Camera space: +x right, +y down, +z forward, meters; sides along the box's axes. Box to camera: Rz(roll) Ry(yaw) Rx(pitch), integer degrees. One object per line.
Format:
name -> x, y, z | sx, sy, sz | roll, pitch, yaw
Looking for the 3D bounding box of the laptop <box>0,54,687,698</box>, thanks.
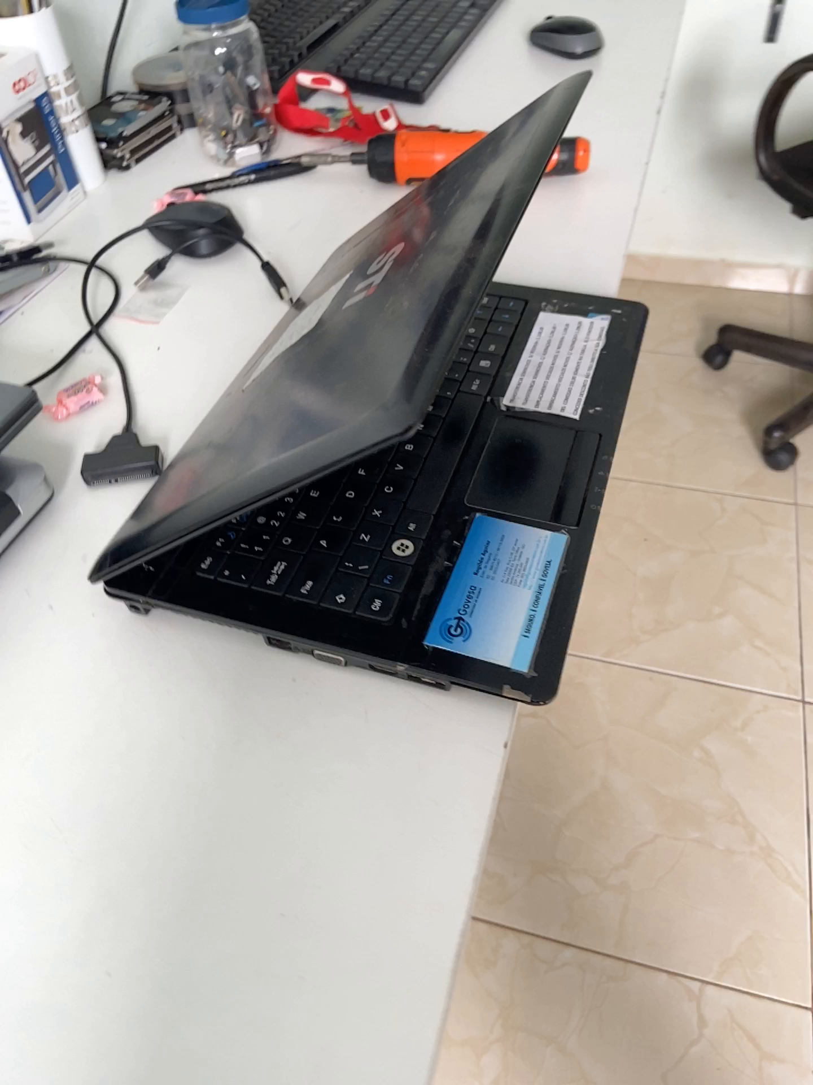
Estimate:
laptop -> 0.005, -0.122, 0.454 | 0.227, 0.144, 0.337 | 12, 49, 15
